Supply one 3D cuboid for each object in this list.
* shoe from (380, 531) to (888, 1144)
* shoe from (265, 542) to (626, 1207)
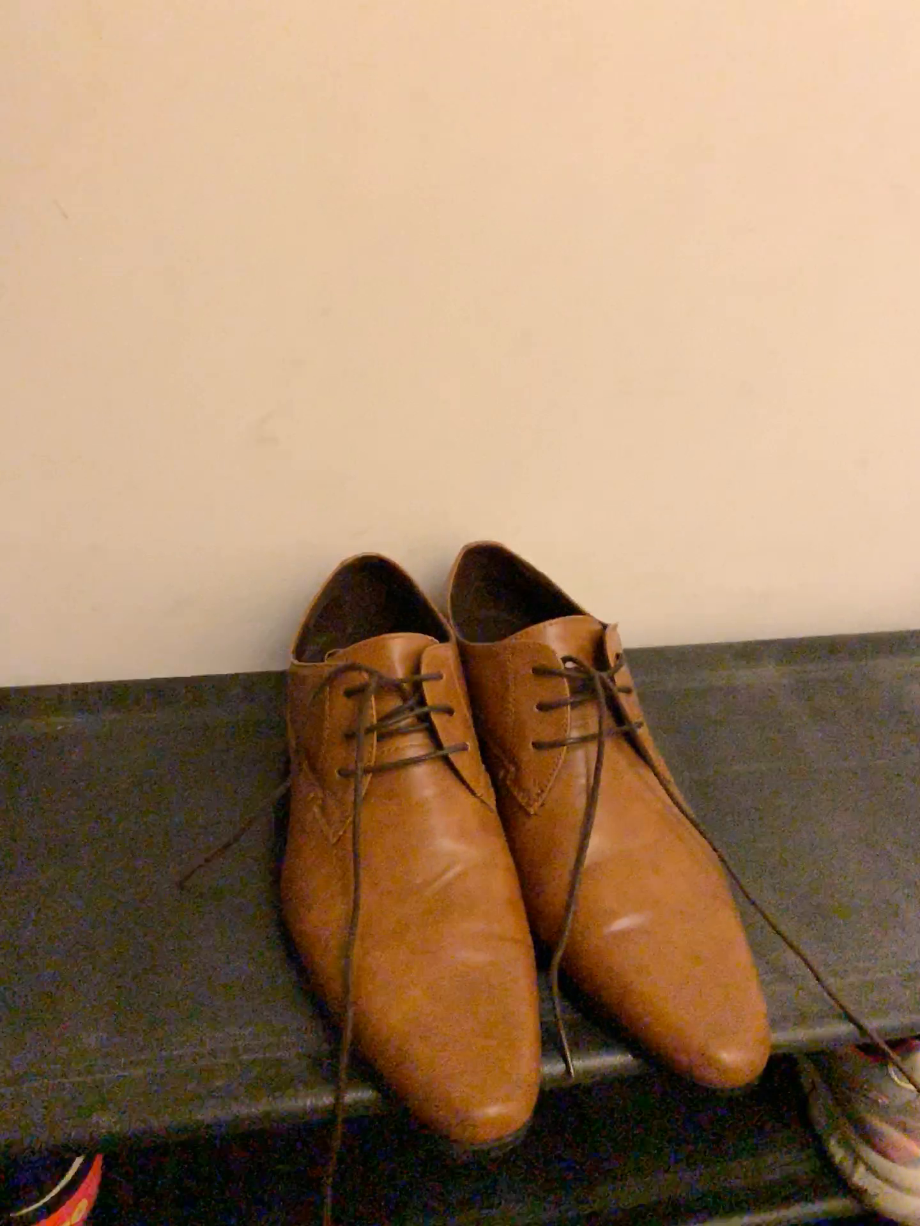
[{"bbox_3d":[0.053,0.077,0.471,0.100,0.099,0.302,-9,34,-20],"label":"shoe"},{"bbox_3d":[-0.031,0.084,0.442,0.100,0.099,0.303,-4,33,-12],"label":"shoe"}]
